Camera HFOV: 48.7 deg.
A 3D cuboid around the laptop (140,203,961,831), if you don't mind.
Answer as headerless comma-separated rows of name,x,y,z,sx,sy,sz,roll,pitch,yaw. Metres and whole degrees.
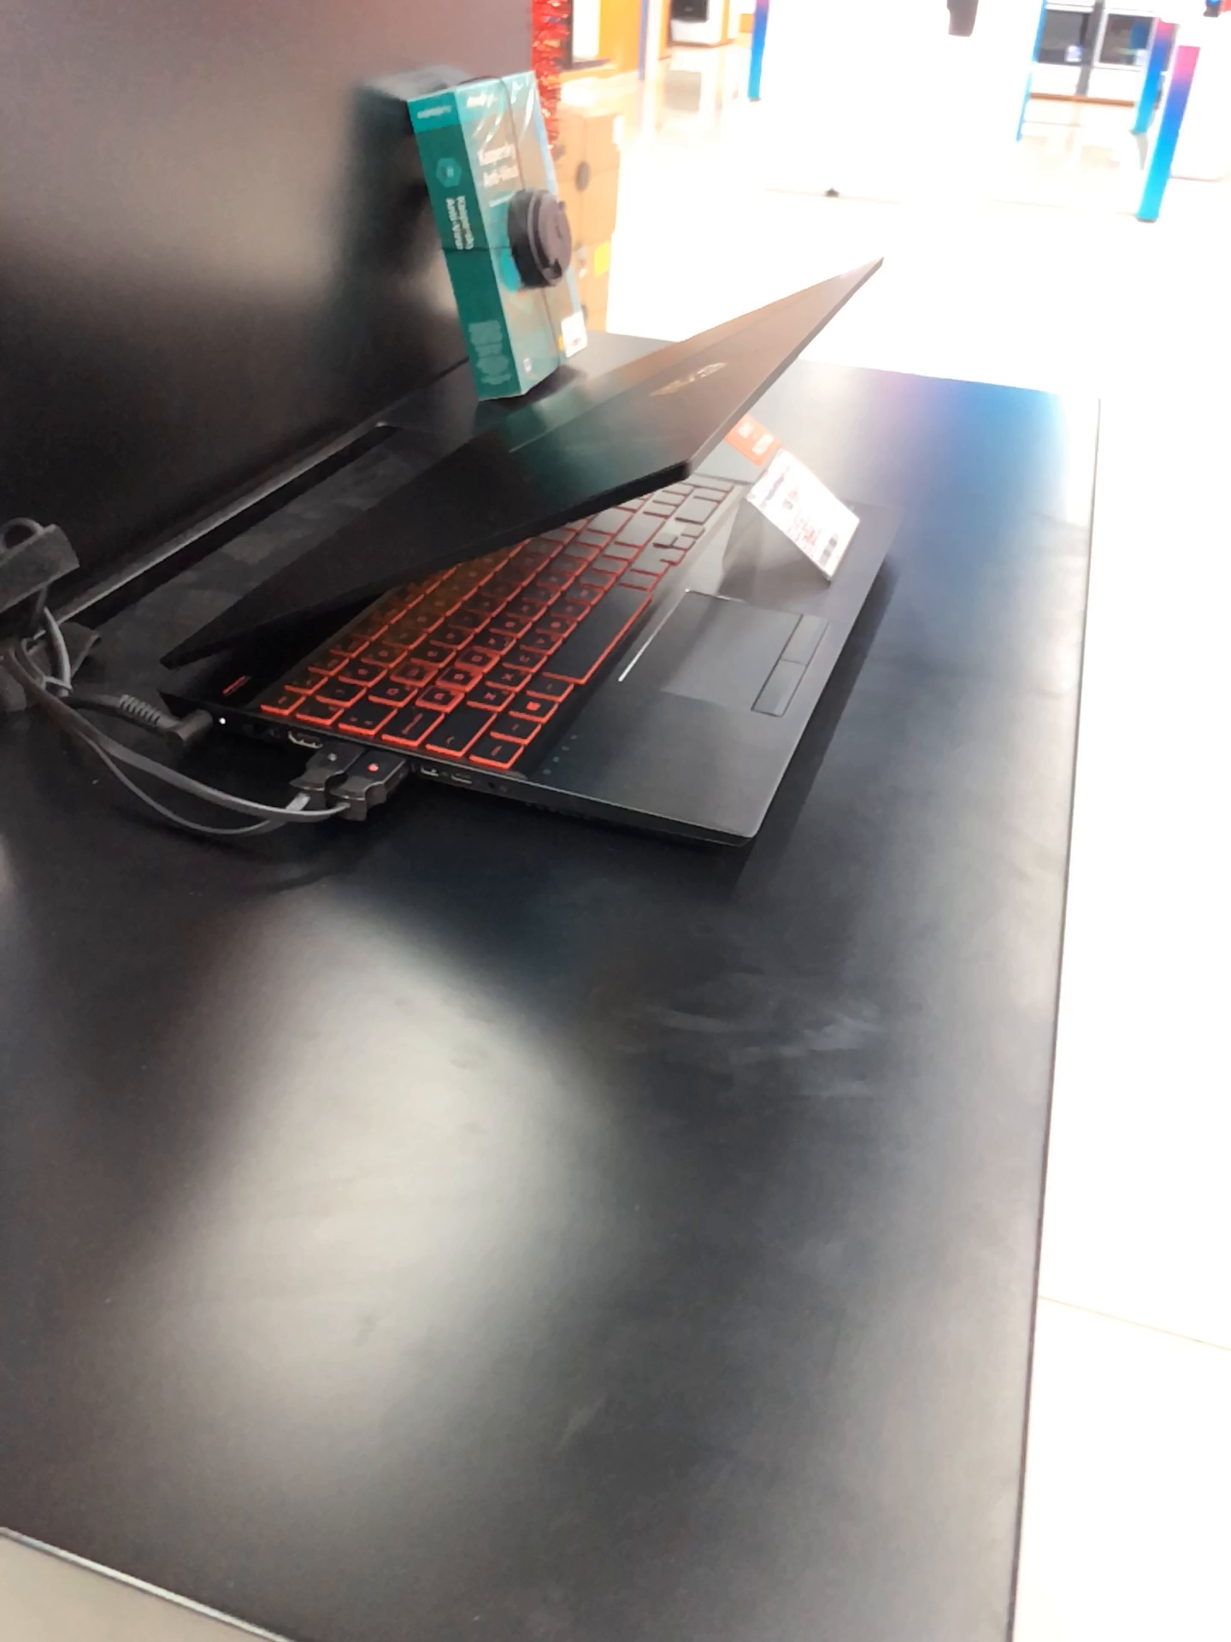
laptop,0.002,-0.168,0.618,0.230,0.121,0.352,16,36,14
